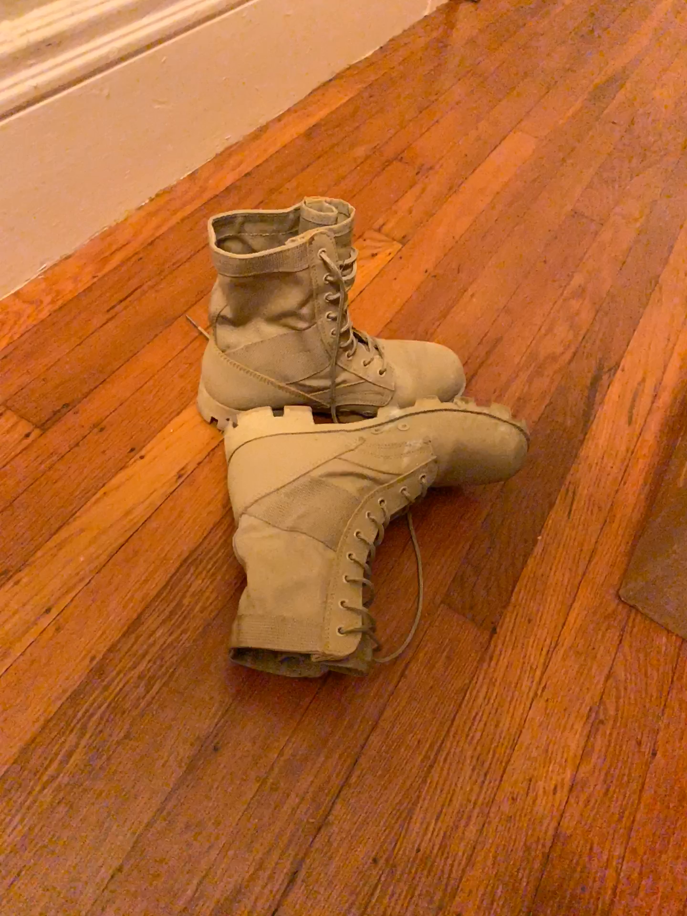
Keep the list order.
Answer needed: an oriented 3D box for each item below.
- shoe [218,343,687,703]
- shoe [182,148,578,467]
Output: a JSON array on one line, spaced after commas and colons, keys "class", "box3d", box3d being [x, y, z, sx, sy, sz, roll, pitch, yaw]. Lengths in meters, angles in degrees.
[{"class": "shoe", "box3d": [0.060, 0.042, 0.560, 0.310, 0.119, 0.251, 1, 47, -11]}, {"class": "shoe", "box3d": [0.008, -0.131, 0.653, 0.300, 0.199, 0.191, -1, 55, -13]}]
